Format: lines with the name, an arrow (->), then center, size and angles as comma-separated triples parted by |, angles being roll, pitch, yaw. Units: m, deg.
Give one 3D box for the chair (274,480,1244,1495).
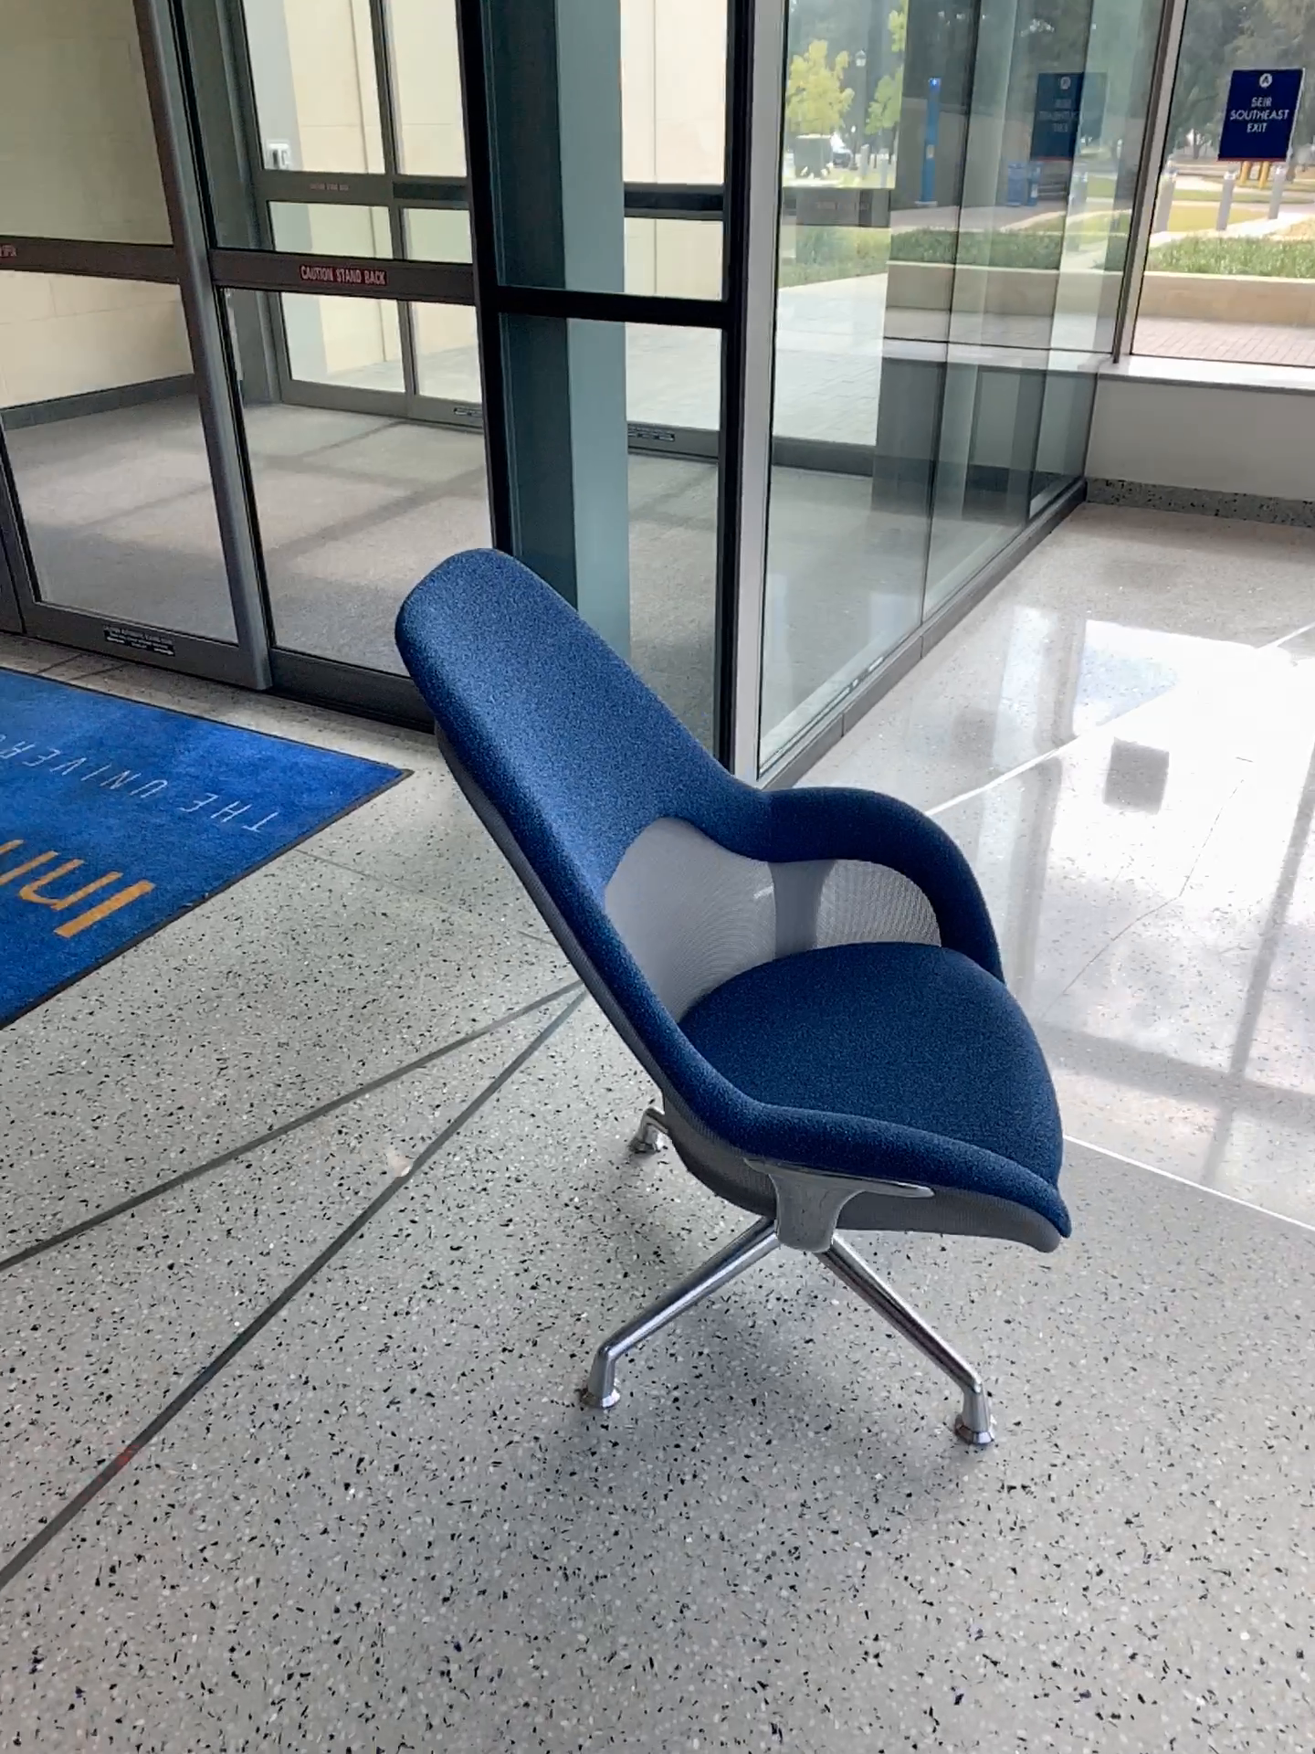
chair -> 0.107, 0.088, 1.629 | 0.784, 0.933, 0.730 | 2, 29, 5
